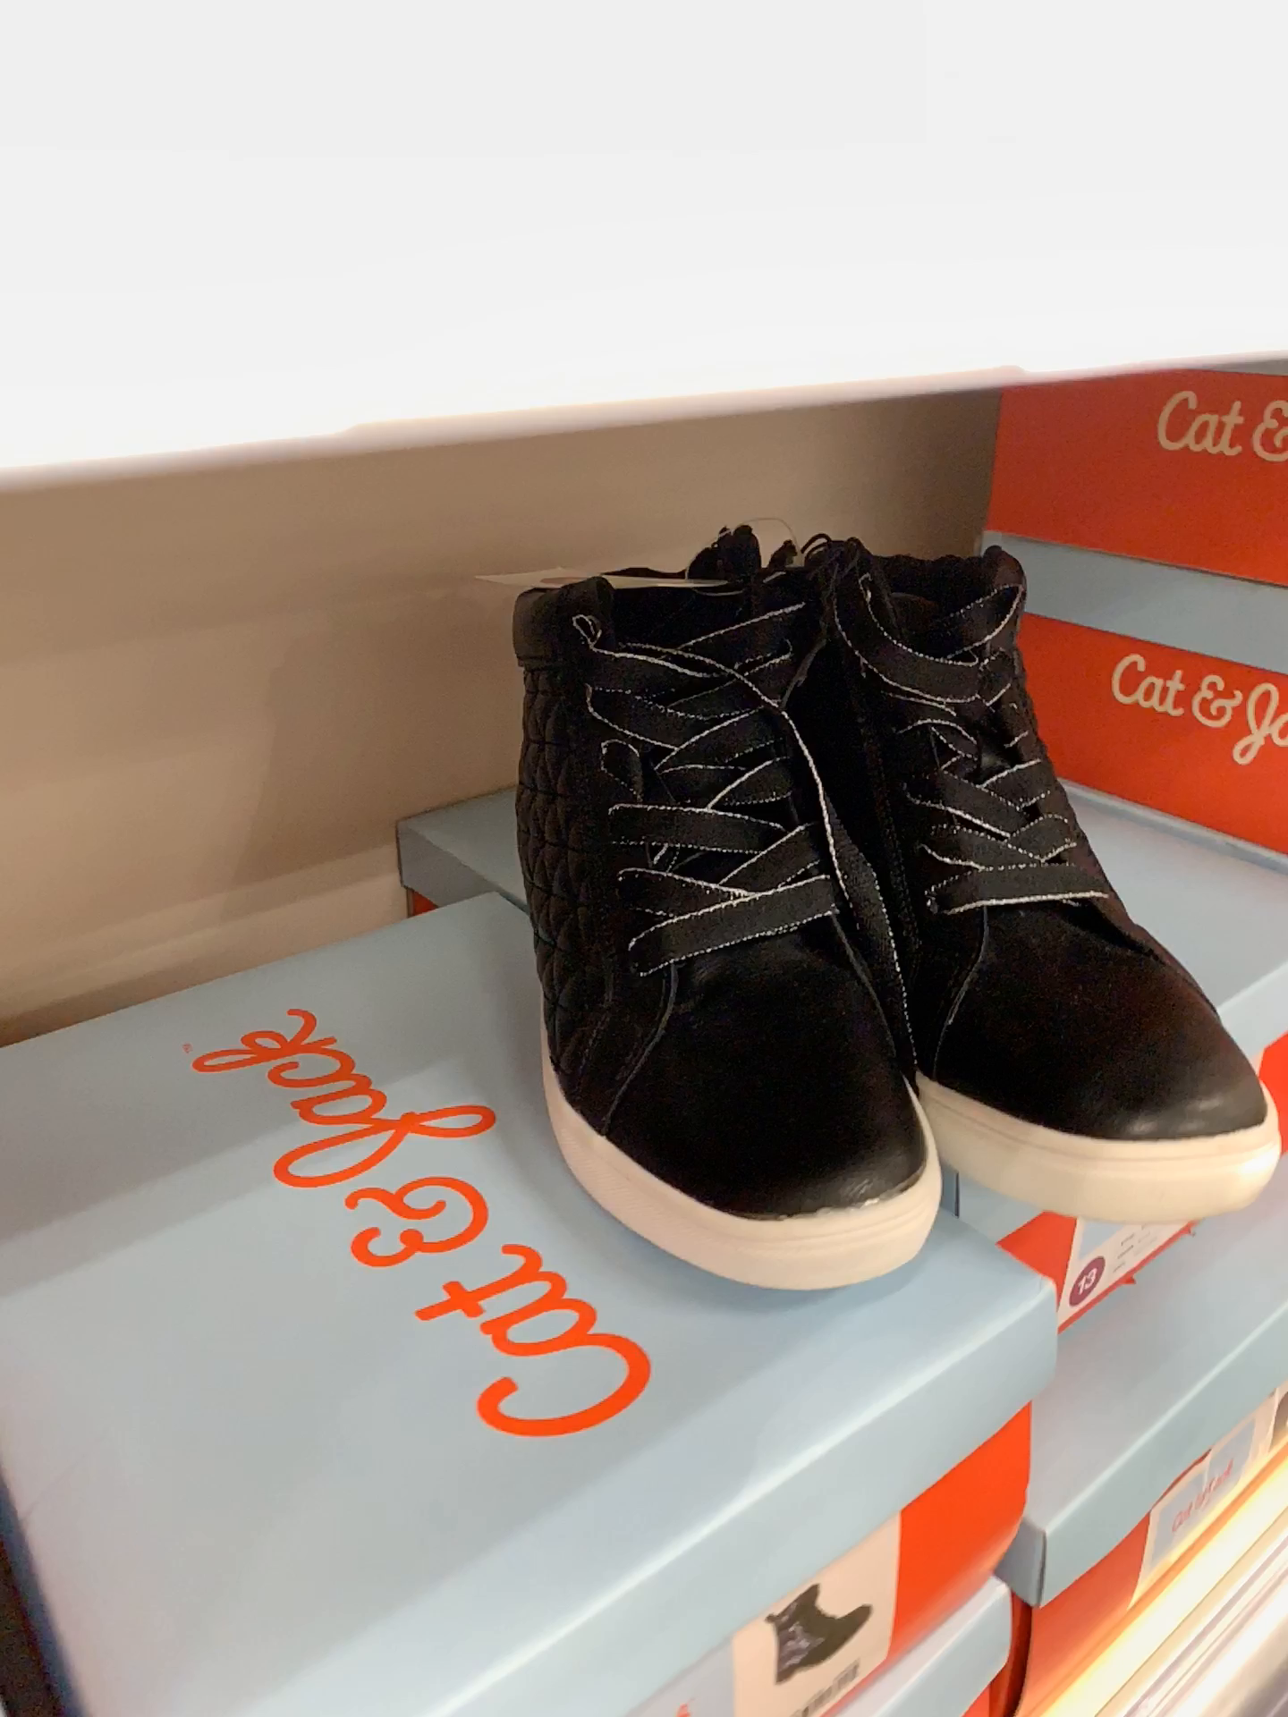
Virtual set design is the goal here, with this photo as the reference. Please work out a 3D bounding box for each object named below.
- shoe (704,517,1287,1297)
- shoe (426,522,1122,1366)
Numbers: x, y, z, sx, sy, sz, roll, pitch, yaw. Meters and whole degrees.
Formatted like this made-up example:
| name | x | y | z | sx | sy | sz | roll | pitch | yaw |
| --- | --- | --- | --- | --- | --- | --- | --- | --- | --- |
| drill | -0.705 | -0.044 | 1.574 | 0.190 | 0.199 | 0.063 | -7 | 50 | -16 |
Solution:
| name | x | y | z | sx | sy | sz | roll | pitch | yaw |
| --- | --- | --- | --- | --- | --- | --- | --- | --- | --- |
| shoe | 0.101 | -0.012 | 0.368 | 0.100 | 0.109 | 0.231 | -6 | 27 | -14 |
| shoe | 0.009 | -0.004 | 0.361 | 0.100 | 0.119 | 0.231 | -6 | 27 | -14 |
